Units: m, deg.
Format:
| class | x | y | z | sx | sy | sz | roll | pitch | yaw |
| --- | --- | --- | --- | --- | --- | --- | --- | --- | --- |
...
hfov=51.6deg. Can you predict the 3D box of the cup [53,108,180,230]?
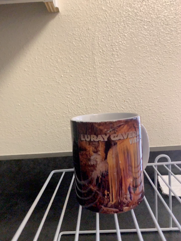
| class | x | y | z | sx | sy | sz | roll | pitch | yaw |
| --- | --- | --- | --- | --- | --- | --- | --- | --- | --- |
| cup | 0.033 | 0.037 | 0.220 | 0.120 | 0.090 | 0.080 | -9 | 10 | -33 |
